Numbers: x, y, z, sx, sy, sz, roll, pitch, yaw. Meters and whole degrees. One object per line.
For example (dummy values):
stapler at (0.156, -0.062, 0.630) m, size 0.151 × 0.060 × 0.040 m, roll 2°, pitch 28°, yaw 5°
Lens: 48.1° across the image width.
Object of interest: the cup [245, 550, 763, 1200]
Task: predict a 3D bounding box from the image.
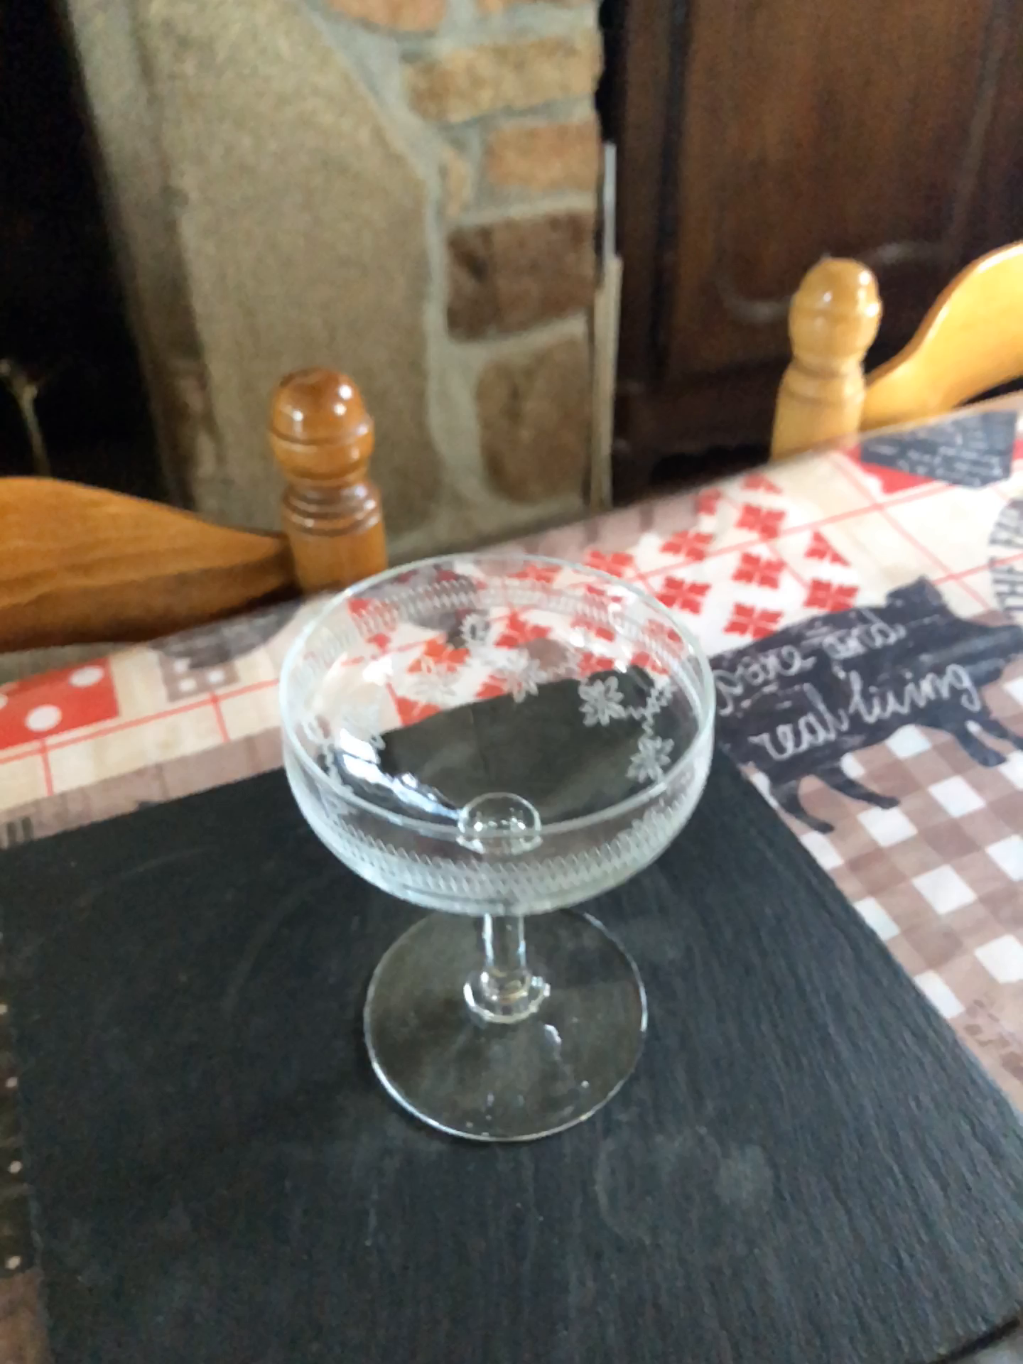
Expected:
cup at (-0.003, 0.046, 0.271) m, size 0.090 × 0.119 × 0.091 m, roll -1°, pitch 40°, yaw 0°
